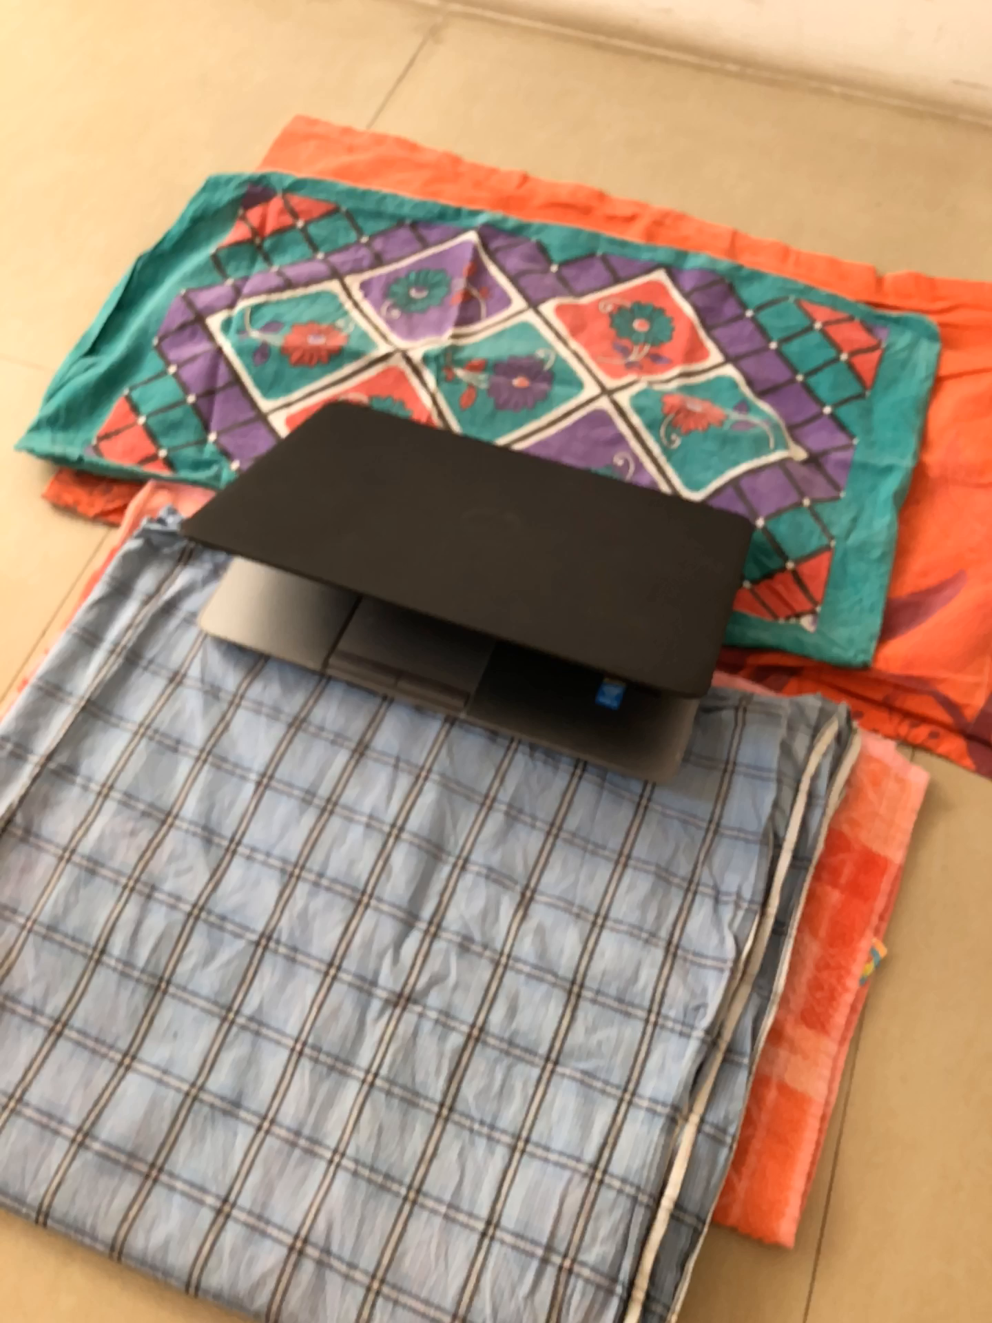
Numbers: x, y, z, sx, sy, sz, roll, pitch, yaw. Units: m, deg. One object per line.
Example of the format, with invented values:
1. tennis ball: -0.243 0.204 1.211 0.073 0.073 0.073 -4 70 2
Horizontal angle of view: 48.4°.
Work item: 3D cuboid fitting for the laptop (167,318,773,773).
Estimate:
1. laptop: -0.005 -0.083 0.726 0.321 0.099 0.213 18 57 6
